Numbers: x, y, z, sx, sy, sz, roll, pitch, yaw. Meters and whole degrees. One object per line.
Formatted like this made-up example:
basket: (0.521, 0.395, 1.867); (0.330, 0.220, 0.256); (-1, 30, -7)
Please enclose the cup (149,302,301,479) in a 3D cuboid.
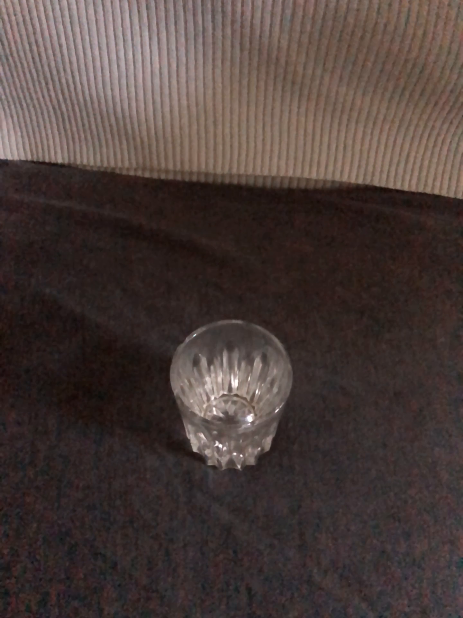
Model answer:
cup: (-0.003, 0.045, 0.268); (0.059, 0.078, 0.048); (13, 54, 7)
